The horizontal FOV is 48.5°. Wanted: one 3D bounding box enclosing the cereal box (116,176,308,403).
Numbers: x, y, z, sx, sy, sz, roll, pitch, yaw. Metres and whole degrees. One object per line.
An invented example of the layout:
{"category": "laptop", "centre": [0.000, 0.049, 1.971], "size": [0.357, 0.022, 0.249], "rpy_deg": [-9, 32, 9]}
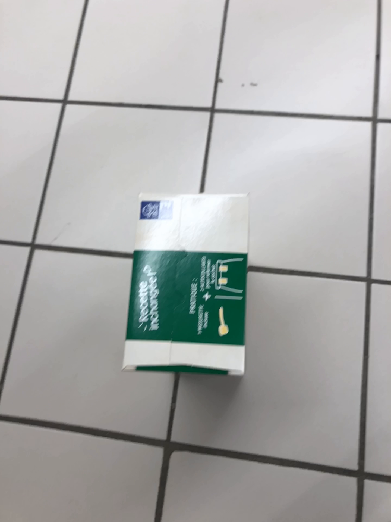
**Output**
{"category": "cereal box", "centre": [0.022, 0.038, 0.386], "size": [0.120, 0.200, 0.150], "rpy_deg": [1, 75, 6]}
